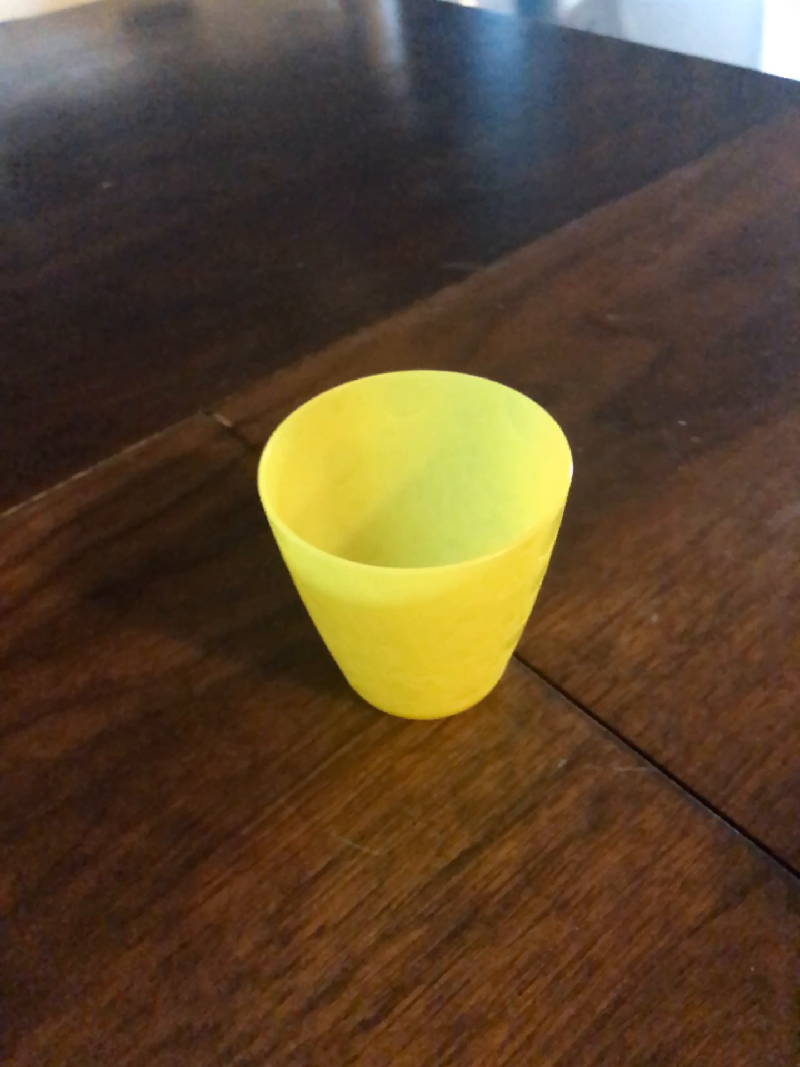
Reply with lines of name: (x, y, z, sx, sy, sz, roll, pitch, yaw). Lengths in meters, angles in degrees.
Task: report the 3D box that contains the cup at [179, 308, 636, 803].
cup: (0.002, 0.002, 0.248, 0.080, 0.080, 0.080, -2, 44, 2)
